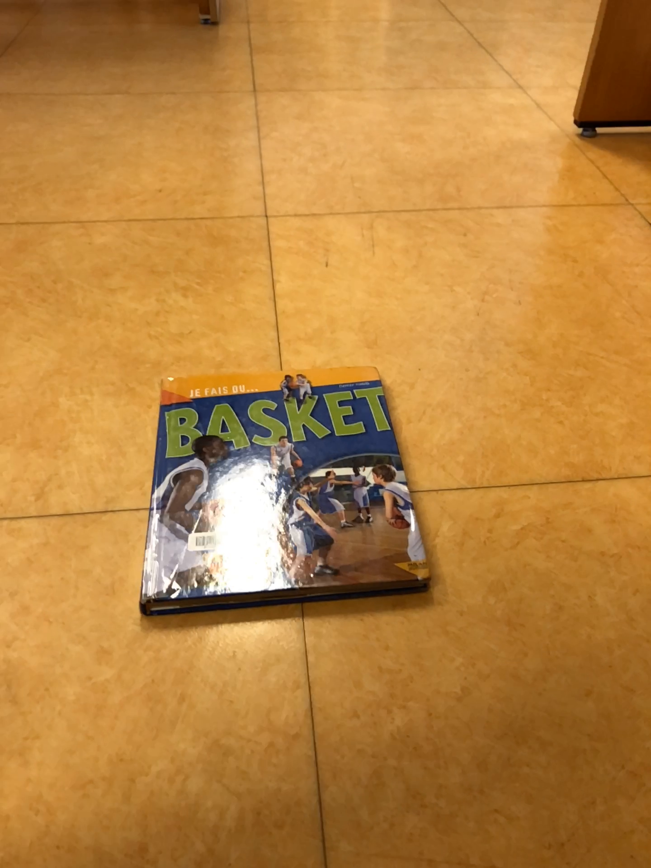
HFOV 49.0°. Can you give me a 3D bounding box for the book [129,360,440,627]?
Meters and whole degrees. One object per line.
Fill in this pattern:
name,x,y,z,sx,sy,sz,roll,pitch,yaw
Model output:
book,-0.040,0.030,0.584,0.210,0.020,0.258,-4,43,-6
